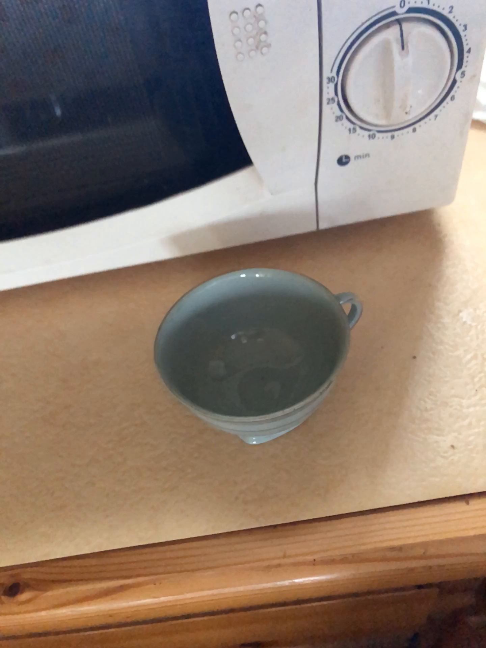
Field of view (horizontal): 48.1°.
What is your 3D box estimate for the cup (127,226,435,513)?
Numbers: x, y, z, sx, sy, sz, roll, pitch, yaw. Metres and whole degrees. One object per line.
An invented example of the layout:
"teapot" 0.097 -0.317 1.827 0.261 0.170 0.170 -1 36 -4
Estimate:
"cup" 0.016 0.014 0.241 0.100 0.040 0.080 -32 52 -16
